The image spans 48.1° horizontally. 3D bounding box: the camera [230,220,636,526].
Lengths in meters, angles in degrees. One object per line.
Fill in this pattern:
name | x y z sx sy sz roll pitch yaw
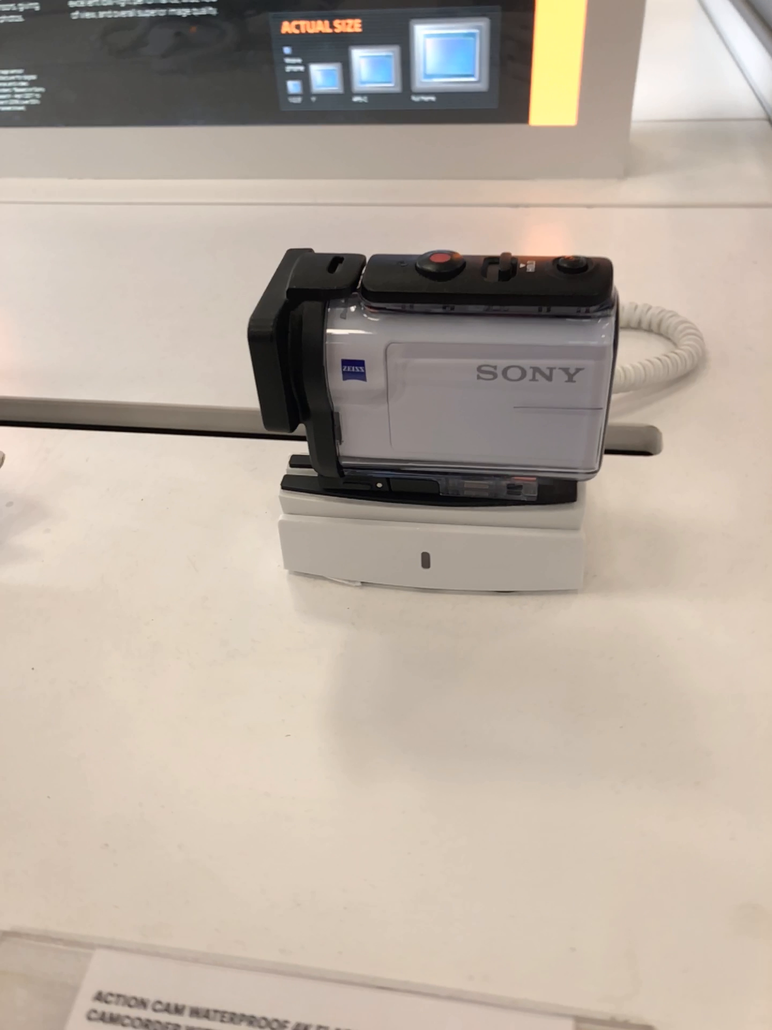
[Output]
camera | 0.014 -0.039 0.229 0.090 0.060 0.050 3 40 9
